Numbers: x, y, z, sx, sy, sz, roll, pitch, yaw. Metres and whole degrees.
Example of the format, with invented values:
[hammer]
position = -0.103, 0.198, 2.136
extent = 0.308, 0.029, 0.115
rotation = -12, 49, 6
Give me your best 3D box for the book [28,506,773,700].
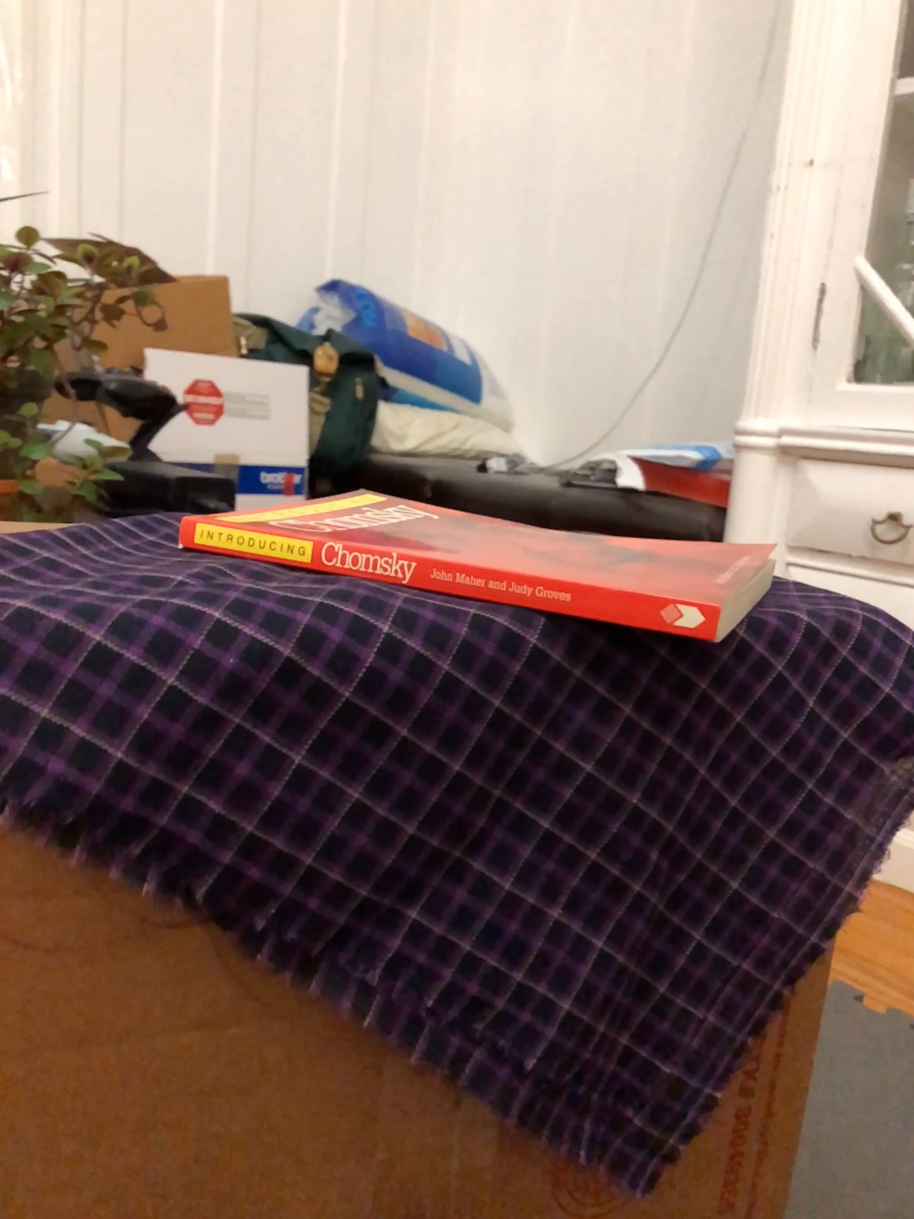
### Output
[book]
position = -0.009, -0.015, 0.402
extent = 0.240, 0.020, 0.180
rotation = 9, 11, 21
